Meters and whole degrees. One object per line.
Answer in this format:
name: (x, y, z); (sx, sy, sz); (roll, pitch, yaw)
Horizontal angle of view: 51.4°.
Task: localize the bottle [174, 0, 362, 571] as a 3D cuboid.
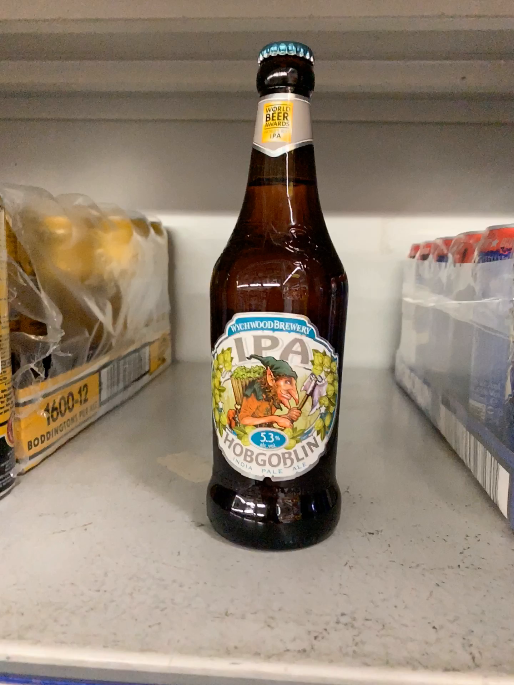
bottle: (0.008, -0.024, 0.281); (0.080, 0.250, 0.080); (1, 7, 0)
